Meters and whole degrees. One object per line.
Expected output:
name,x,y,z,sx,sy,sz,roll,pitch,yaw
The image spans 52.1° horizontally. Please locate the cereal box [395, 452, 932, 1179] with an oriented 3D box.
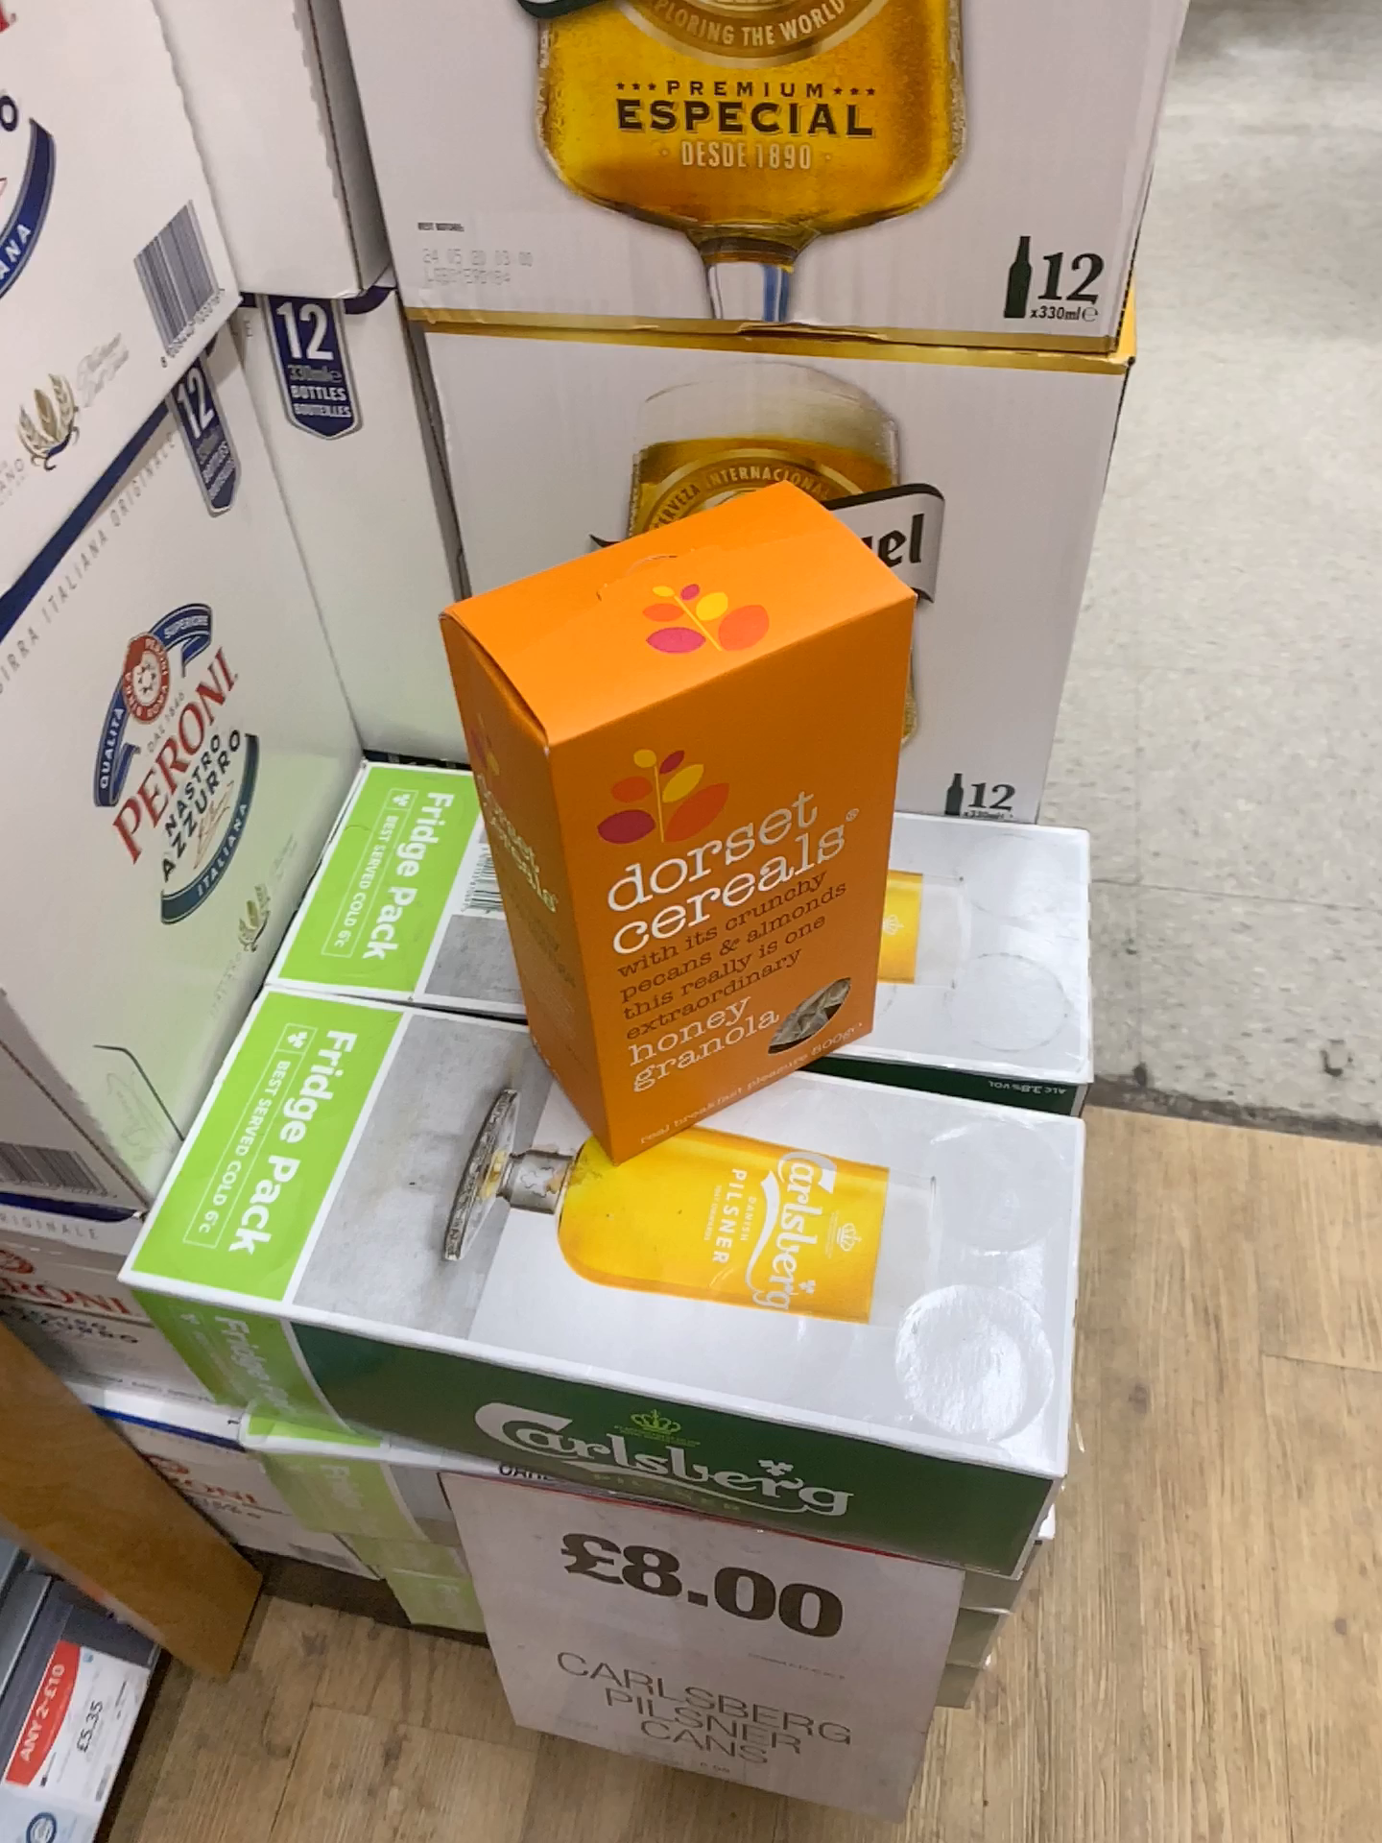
cereal box,-0.003,-0.023,0.442,0.120,0.198,0.070,-26,54,-16
